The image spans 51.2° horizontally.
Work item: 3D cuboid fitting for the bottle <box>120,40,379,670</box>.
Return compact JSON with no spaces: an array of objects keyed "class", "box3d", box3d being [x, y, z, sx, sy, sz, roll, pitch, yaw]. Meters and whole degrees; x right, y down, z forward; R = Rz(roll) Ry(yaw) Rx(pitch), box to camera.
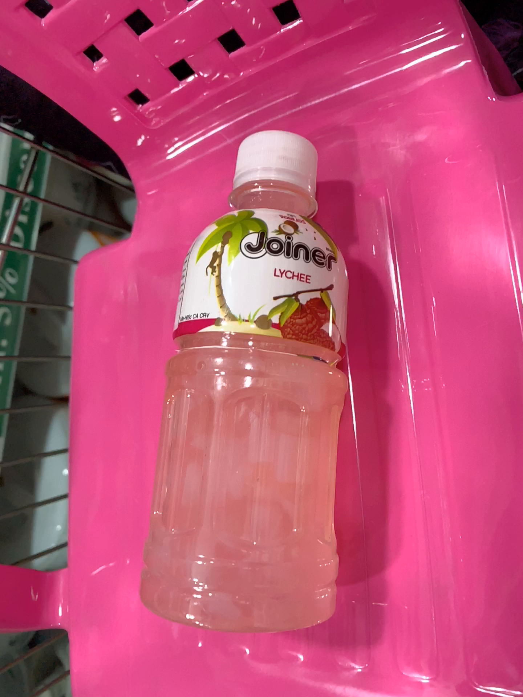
[{"class":"bottle","box3d":[-0.004,0.001,0.185,0.060,0.060,0.170,-15,70,62]}]
